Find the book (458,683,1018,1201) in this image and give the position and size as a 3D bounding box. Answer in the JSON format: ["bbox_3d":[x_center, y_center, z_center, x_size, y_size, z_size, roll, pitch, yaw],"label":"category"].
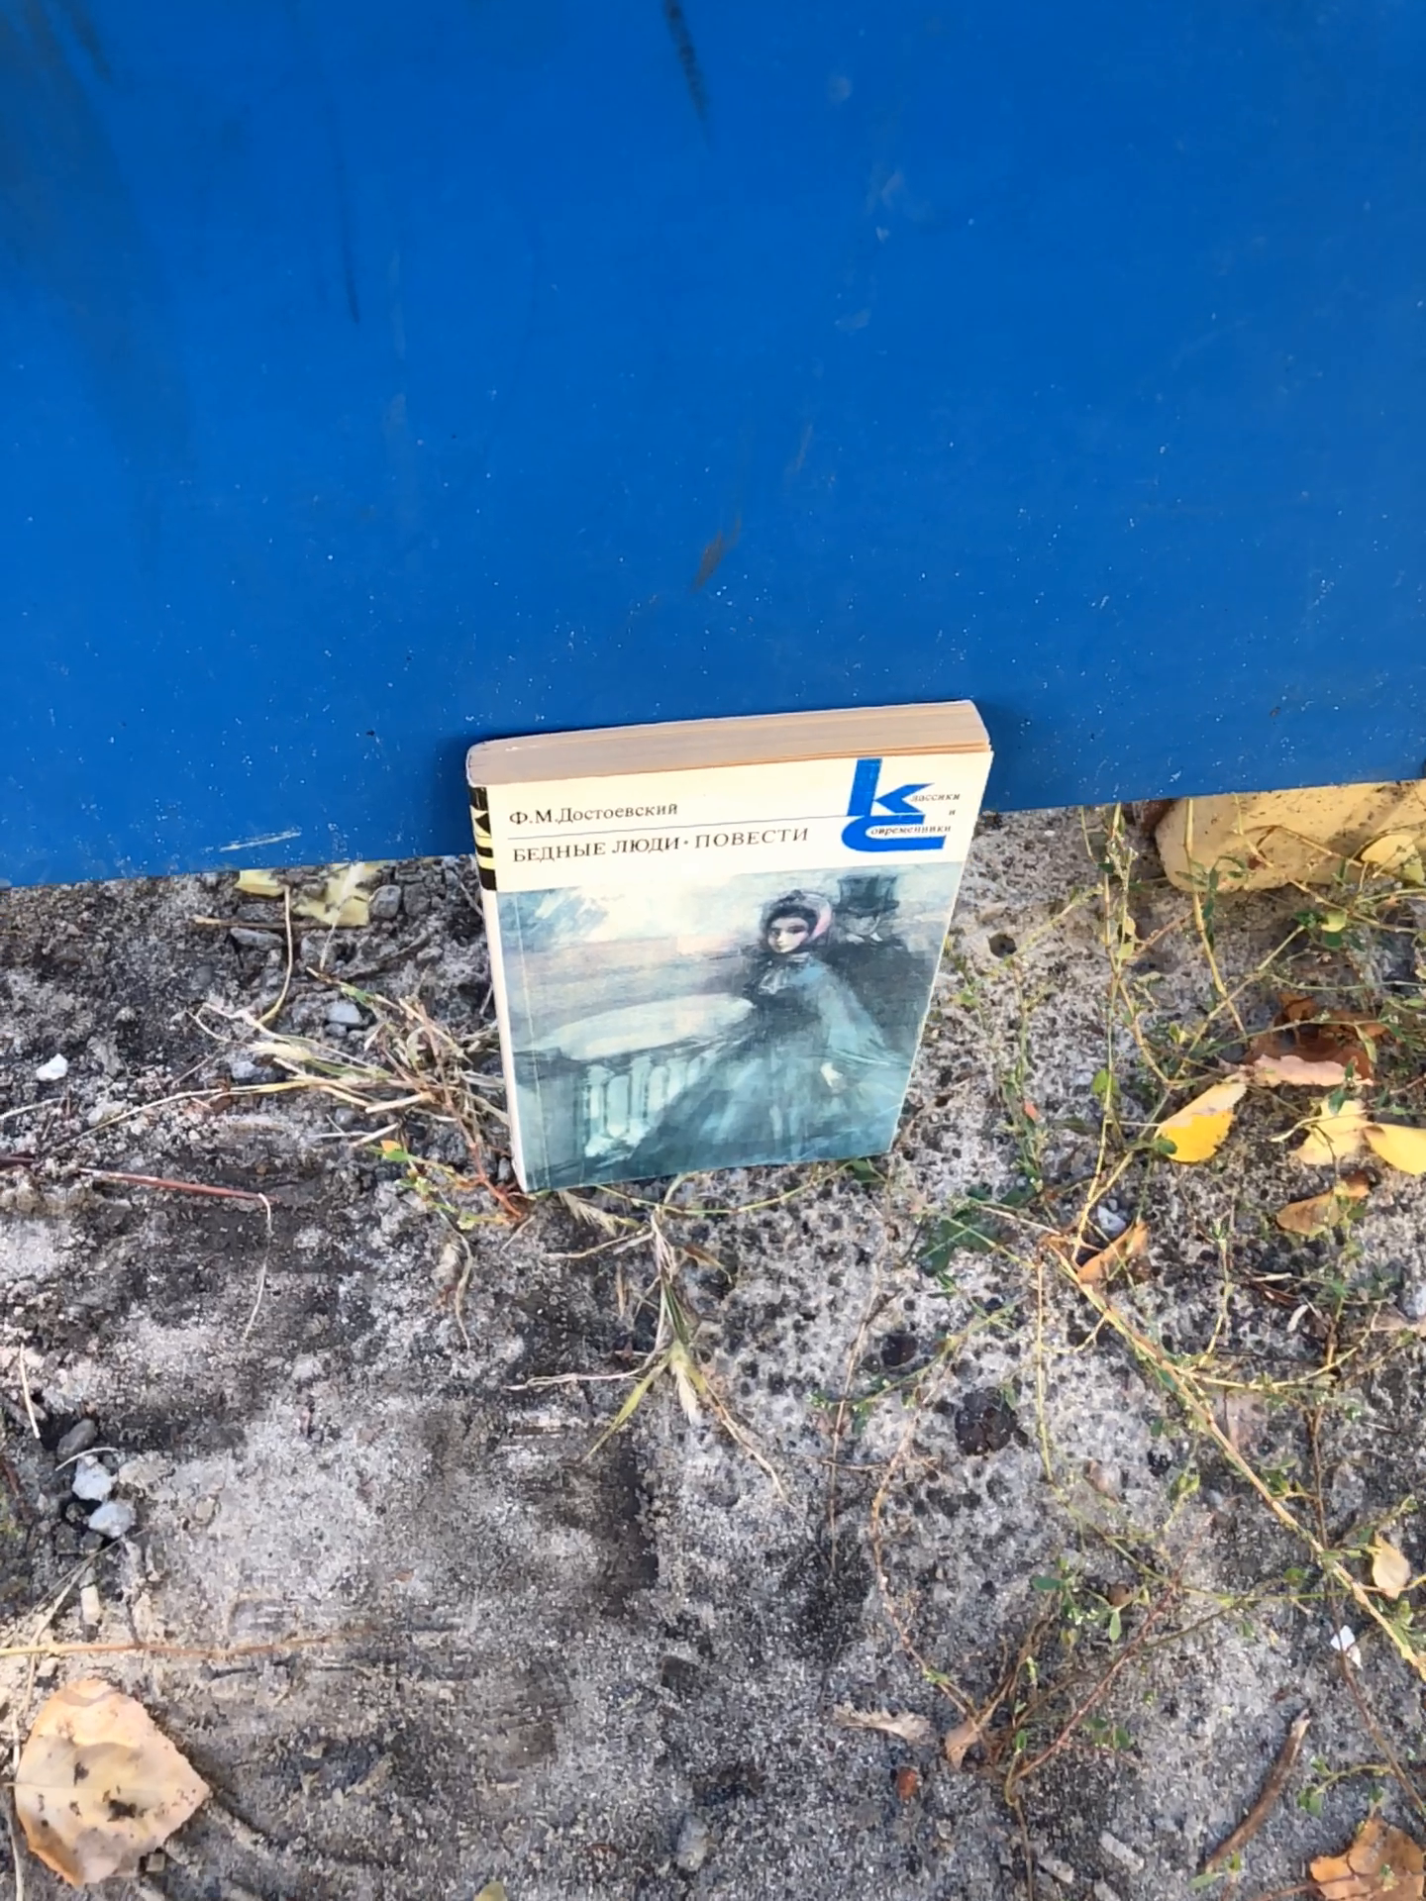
[{"bbox_3d":[0.002,0.007,0.439,0.127,0.187,0.026,-6,54,-7],"label":"book"}]
